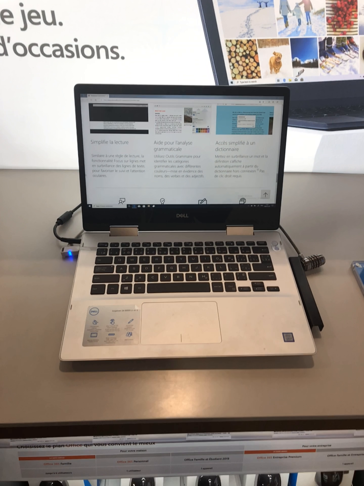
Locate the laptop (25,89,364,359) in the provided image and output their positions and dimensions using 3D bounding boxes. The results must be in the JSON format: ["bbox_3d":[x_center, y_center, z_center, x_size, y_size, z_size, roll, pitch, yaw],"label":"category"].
[{"bbox_3d":[0.006,-0.046,0.554,0.316,0.193,0.338,-1,45,-3],"label":"laptop"}]
